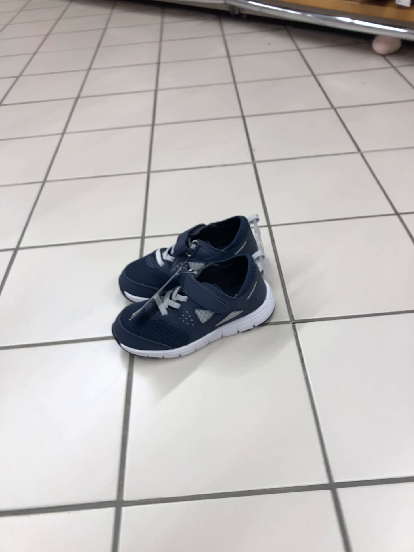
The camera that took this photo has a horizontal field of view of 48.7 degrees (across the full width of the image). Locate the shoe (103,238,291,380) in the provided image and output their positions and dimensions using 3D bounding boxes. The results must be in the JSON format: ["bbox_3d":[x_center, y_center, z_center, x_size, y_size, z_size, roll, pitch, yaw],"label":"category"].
[{"bbox_3d":[-0.010,0.036,0.544,0.198,0.080,0.081,-17,44,-11],"label":"shoe"}]

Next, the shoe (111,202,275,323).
[{"bbox_3d":[-0.017,-0.020,0.611,0.196,0.084,0.084,-15,43,-9],"label":"shoe"}]
